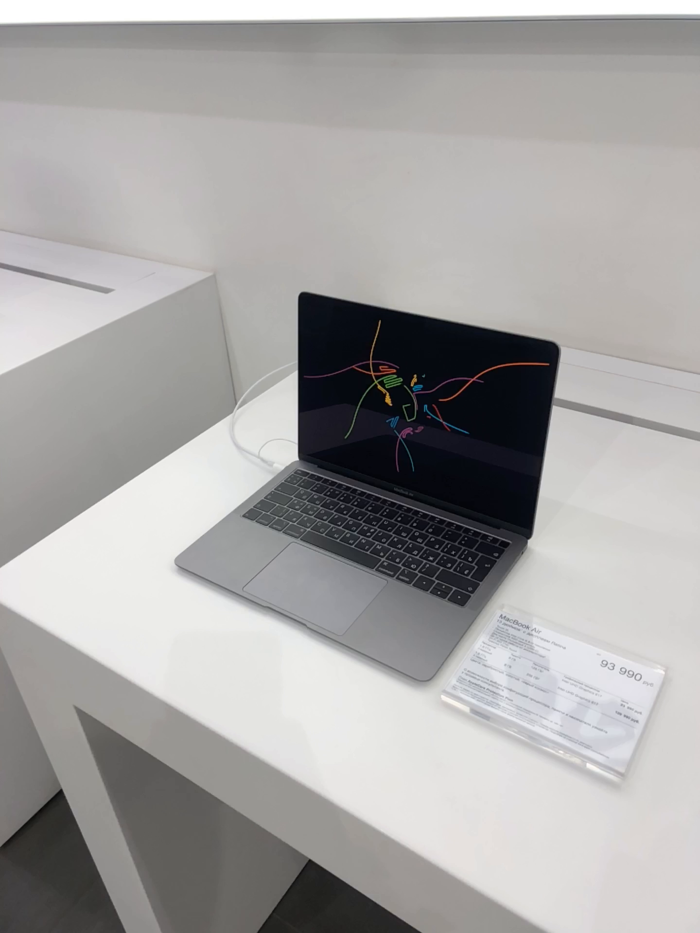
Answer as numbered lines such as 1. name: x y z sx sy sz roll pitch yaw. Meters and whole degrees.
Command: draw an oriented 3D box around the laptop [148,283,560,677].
1. laptop: 0.012 -0.014 0.732 0.285 0.194 0.251 17 41 29
